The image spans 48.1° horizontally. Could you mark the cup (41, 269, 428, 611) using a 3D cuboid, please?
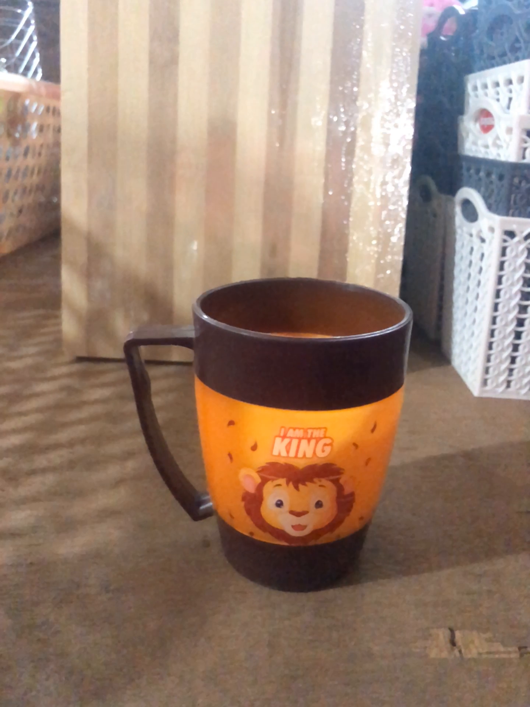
[{"bbox_3d":[-0.008,0.025,0.198,0.100,0.090,0.060,2,22,2],"label":"cup"}]
